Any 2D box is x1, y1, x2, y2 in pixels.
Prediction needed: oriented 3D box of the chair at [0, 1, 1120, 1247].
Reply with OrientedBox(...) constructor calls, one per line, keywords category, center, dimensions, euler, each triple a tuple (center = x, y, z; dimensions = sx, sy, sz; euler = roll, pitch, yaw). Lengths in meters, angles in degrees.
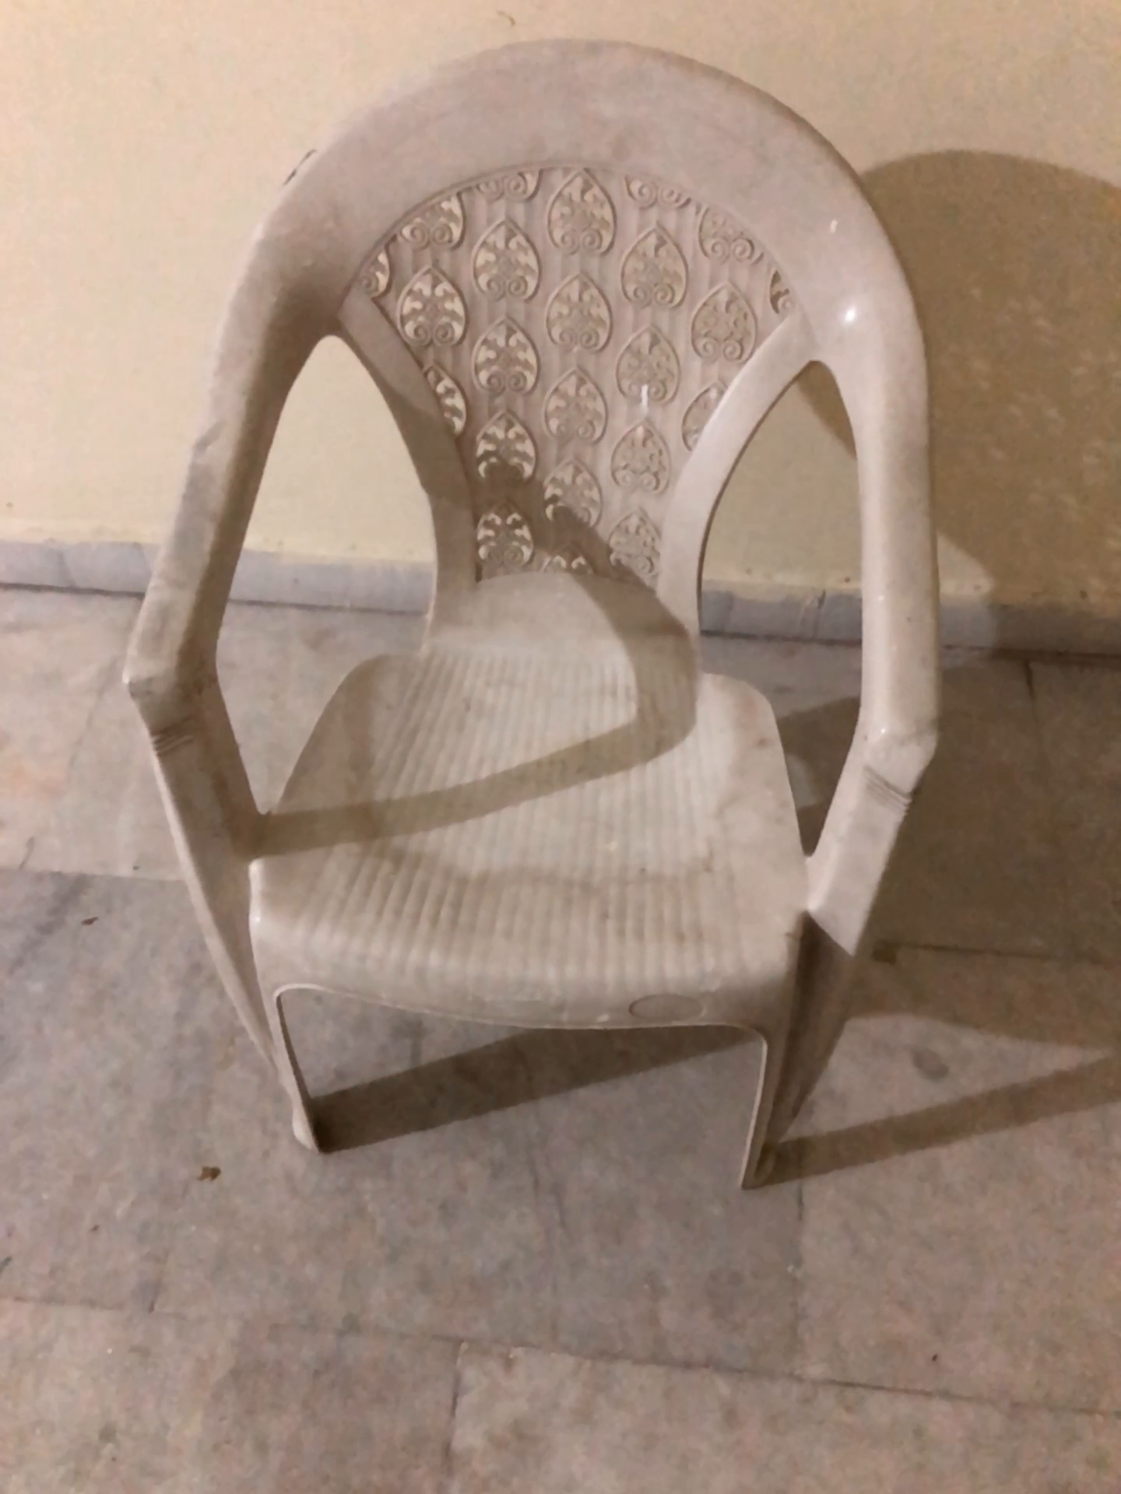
OrientedBox(category="chair", center=(-0.008, -0.022, 0.980), dimensions=(0.530, 0.835, 0.513), euler=(5, 52, 5))
